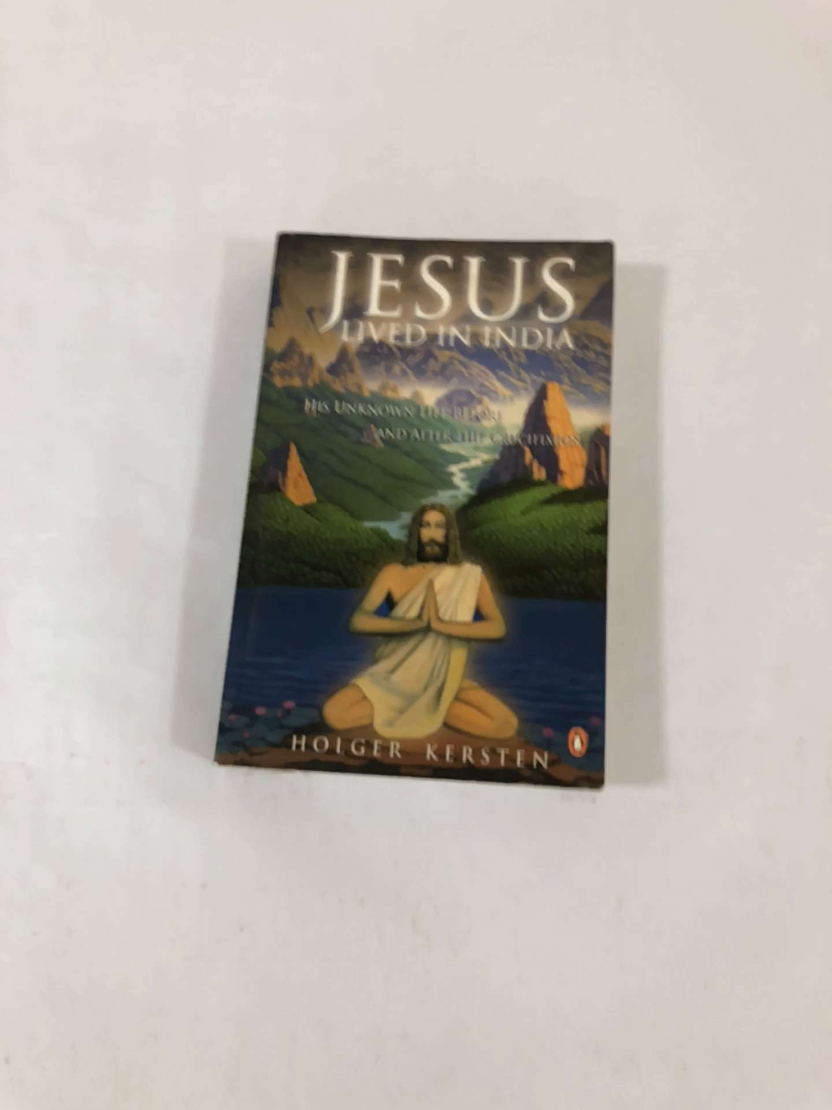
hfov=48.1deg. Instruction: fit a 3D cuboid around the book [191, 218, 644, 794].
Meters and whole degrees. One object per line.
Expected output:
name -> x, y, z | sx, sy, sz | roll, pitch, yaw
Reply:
book -> 0.006, -0.024, 0.350 | 0.150, 0.030, 0.210 | 3, 75, 3
